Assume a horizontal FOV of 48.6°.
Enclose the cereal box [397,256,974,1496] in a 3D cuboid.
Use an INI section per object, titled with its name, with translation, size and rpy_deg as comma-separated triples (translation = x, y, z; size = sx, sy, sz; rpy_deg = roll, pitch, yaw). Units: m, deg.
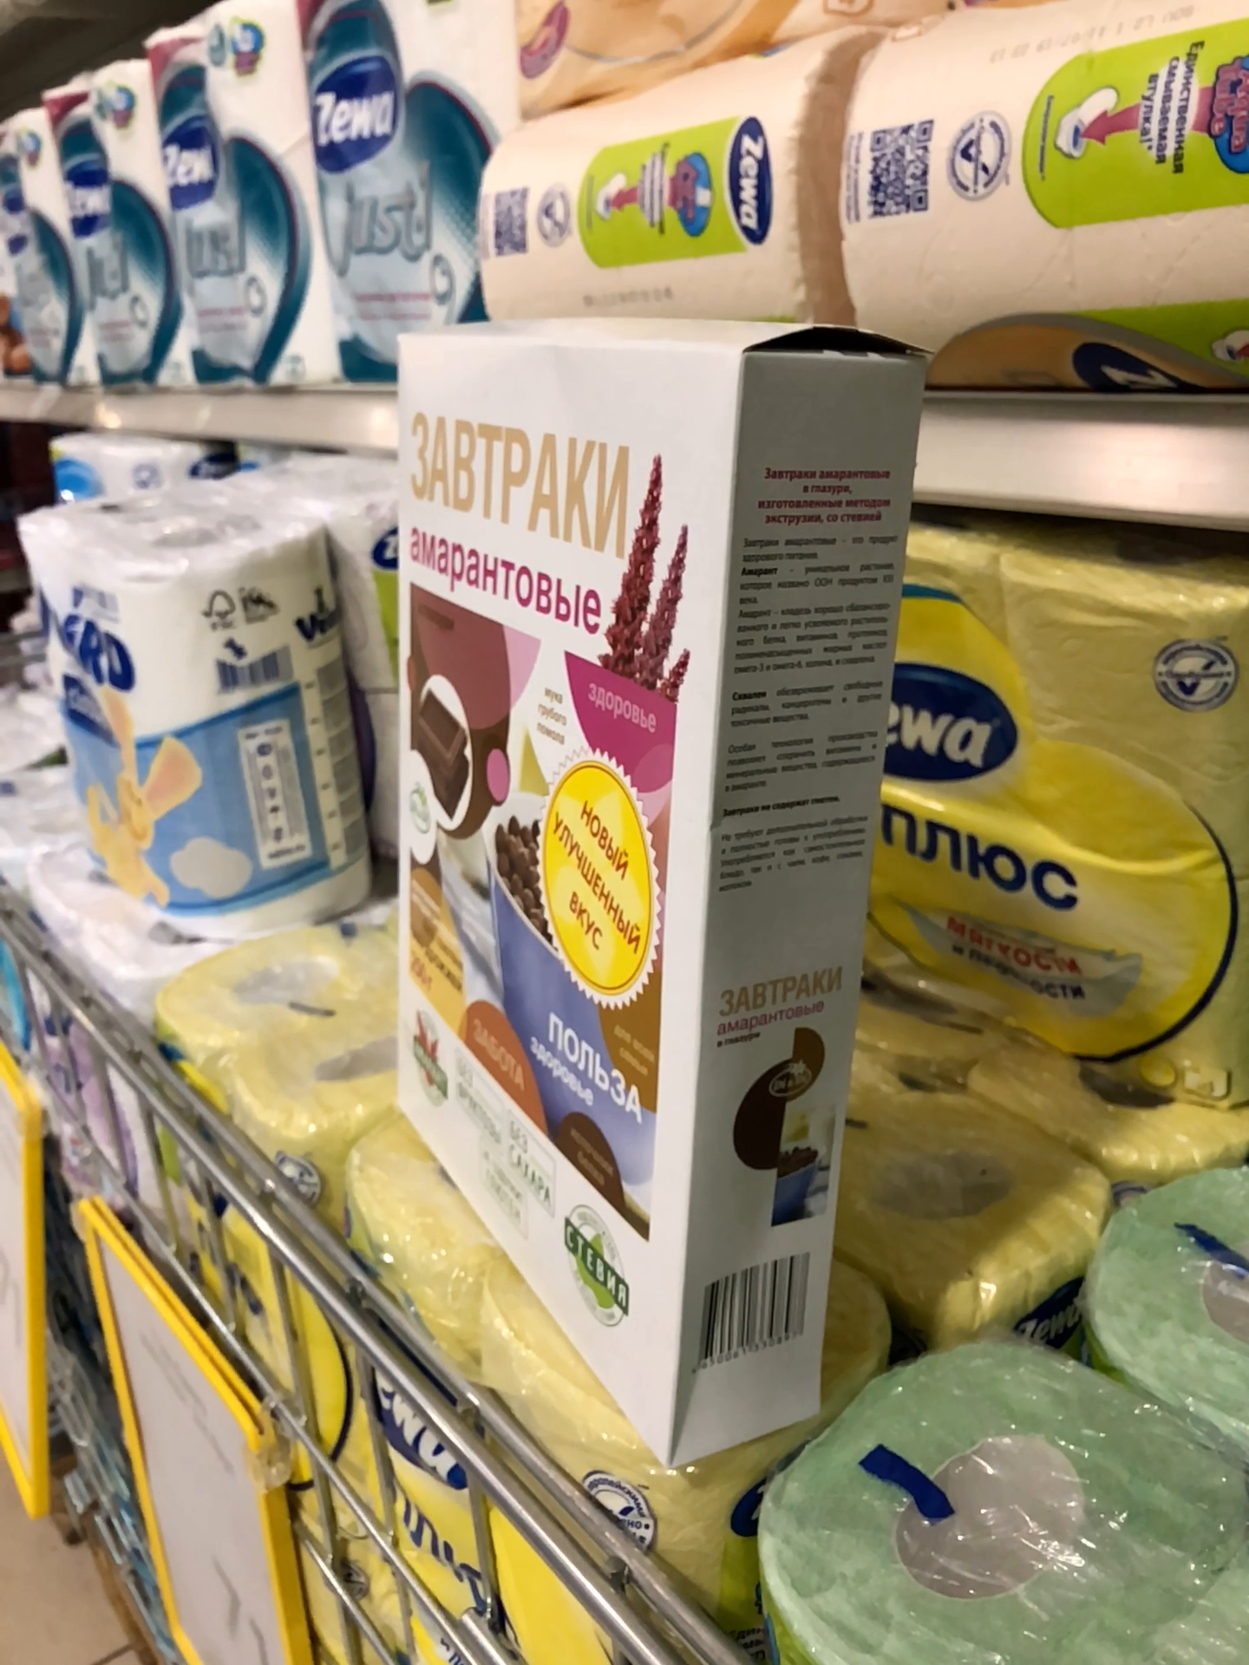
[cereal box]
translation = -0.005, -0.004, 0.375
size = 0.050, 0.269, 0.191
rpy_deg = -7, 19, -28
